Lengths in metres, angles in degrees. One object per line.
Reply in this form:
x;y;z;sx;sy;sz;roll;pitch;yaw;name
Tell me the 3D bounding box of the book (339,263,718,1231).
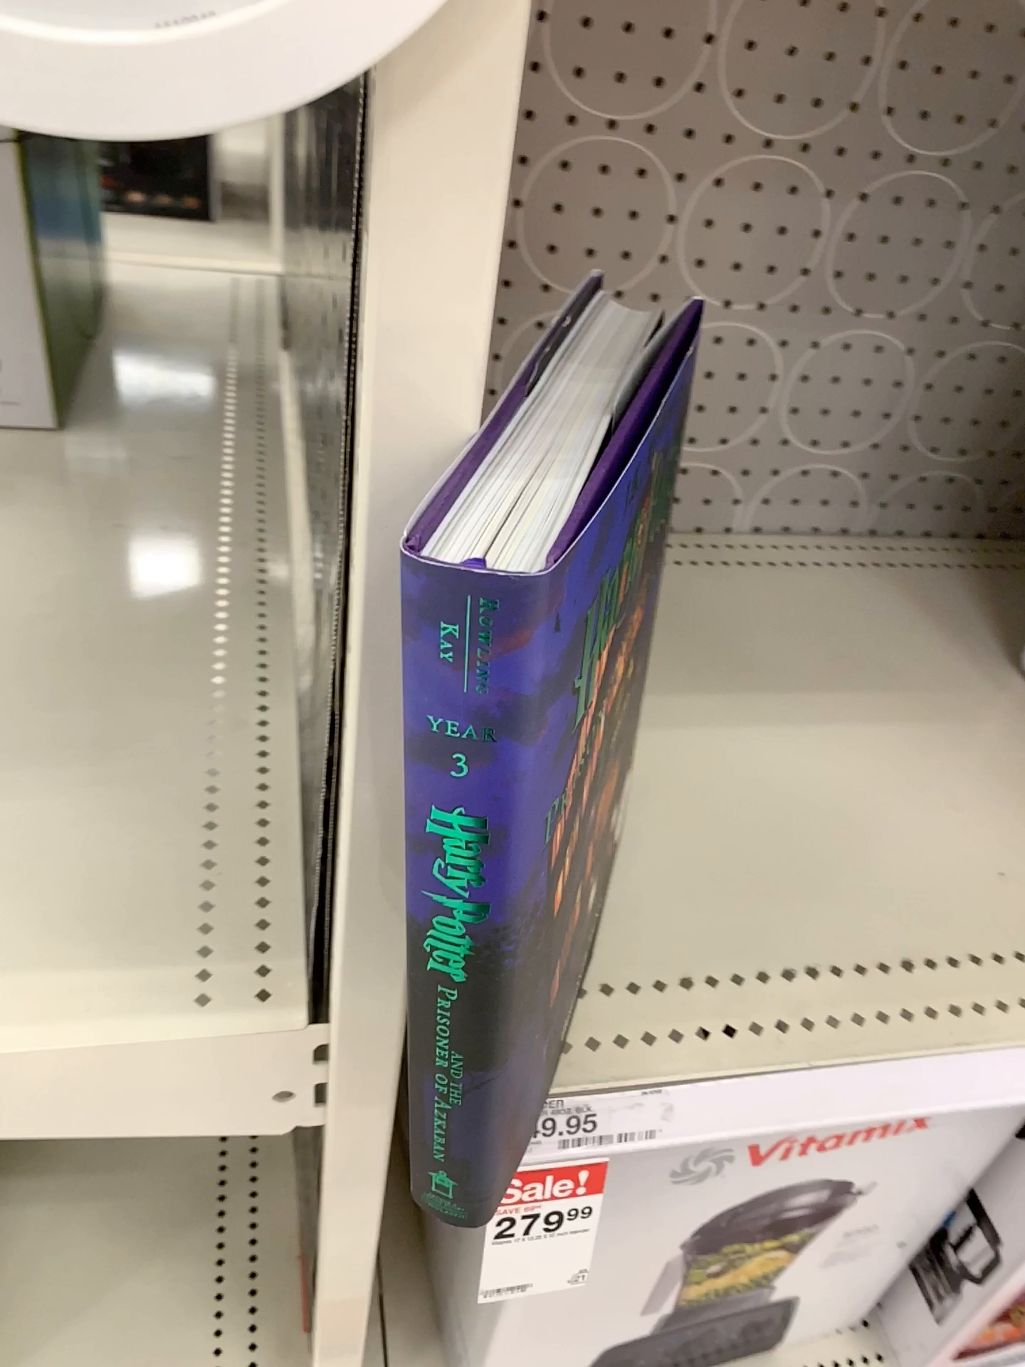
0.013;0.019;0.407;0.050;0.280;0.241;13;38;12;book
